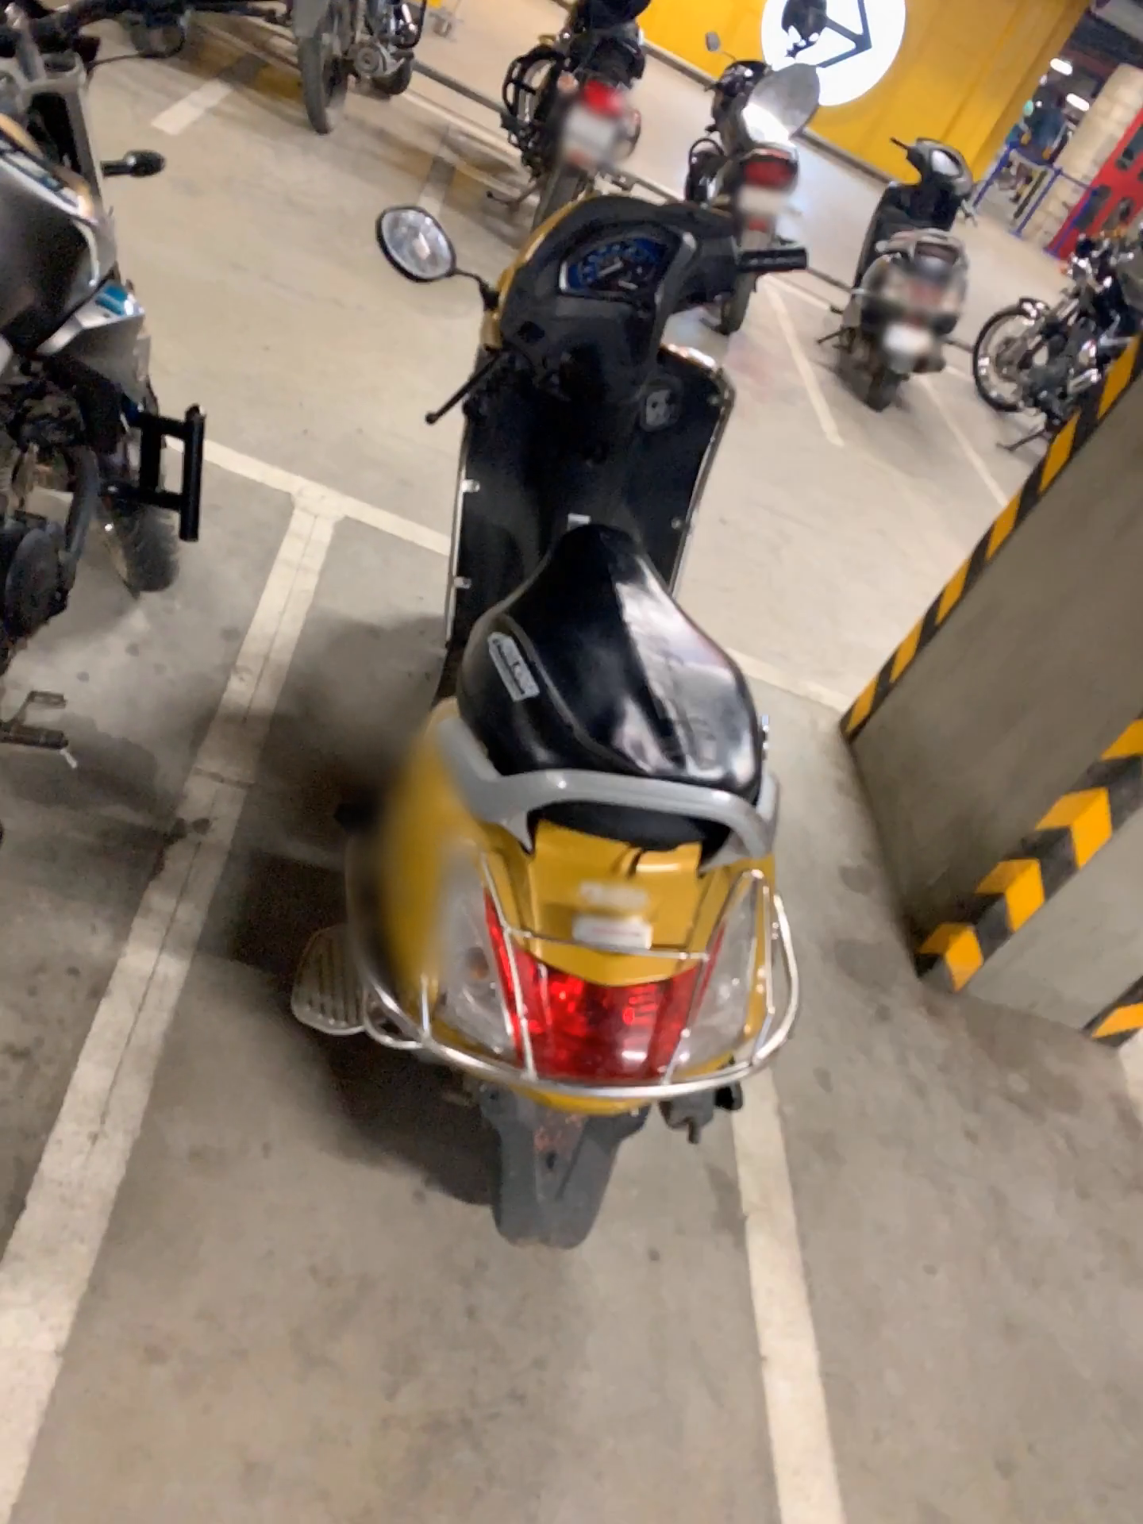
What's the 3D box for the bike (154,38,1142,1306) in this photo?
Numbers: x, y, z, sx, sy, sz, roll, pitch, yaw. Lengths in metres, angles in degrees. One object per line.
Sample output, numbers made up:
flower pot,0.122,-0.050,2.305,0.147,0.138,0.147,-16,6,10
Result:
bike,-0.084,-0.239,1.640,0.569,0.992,1.526,15,36,-21
